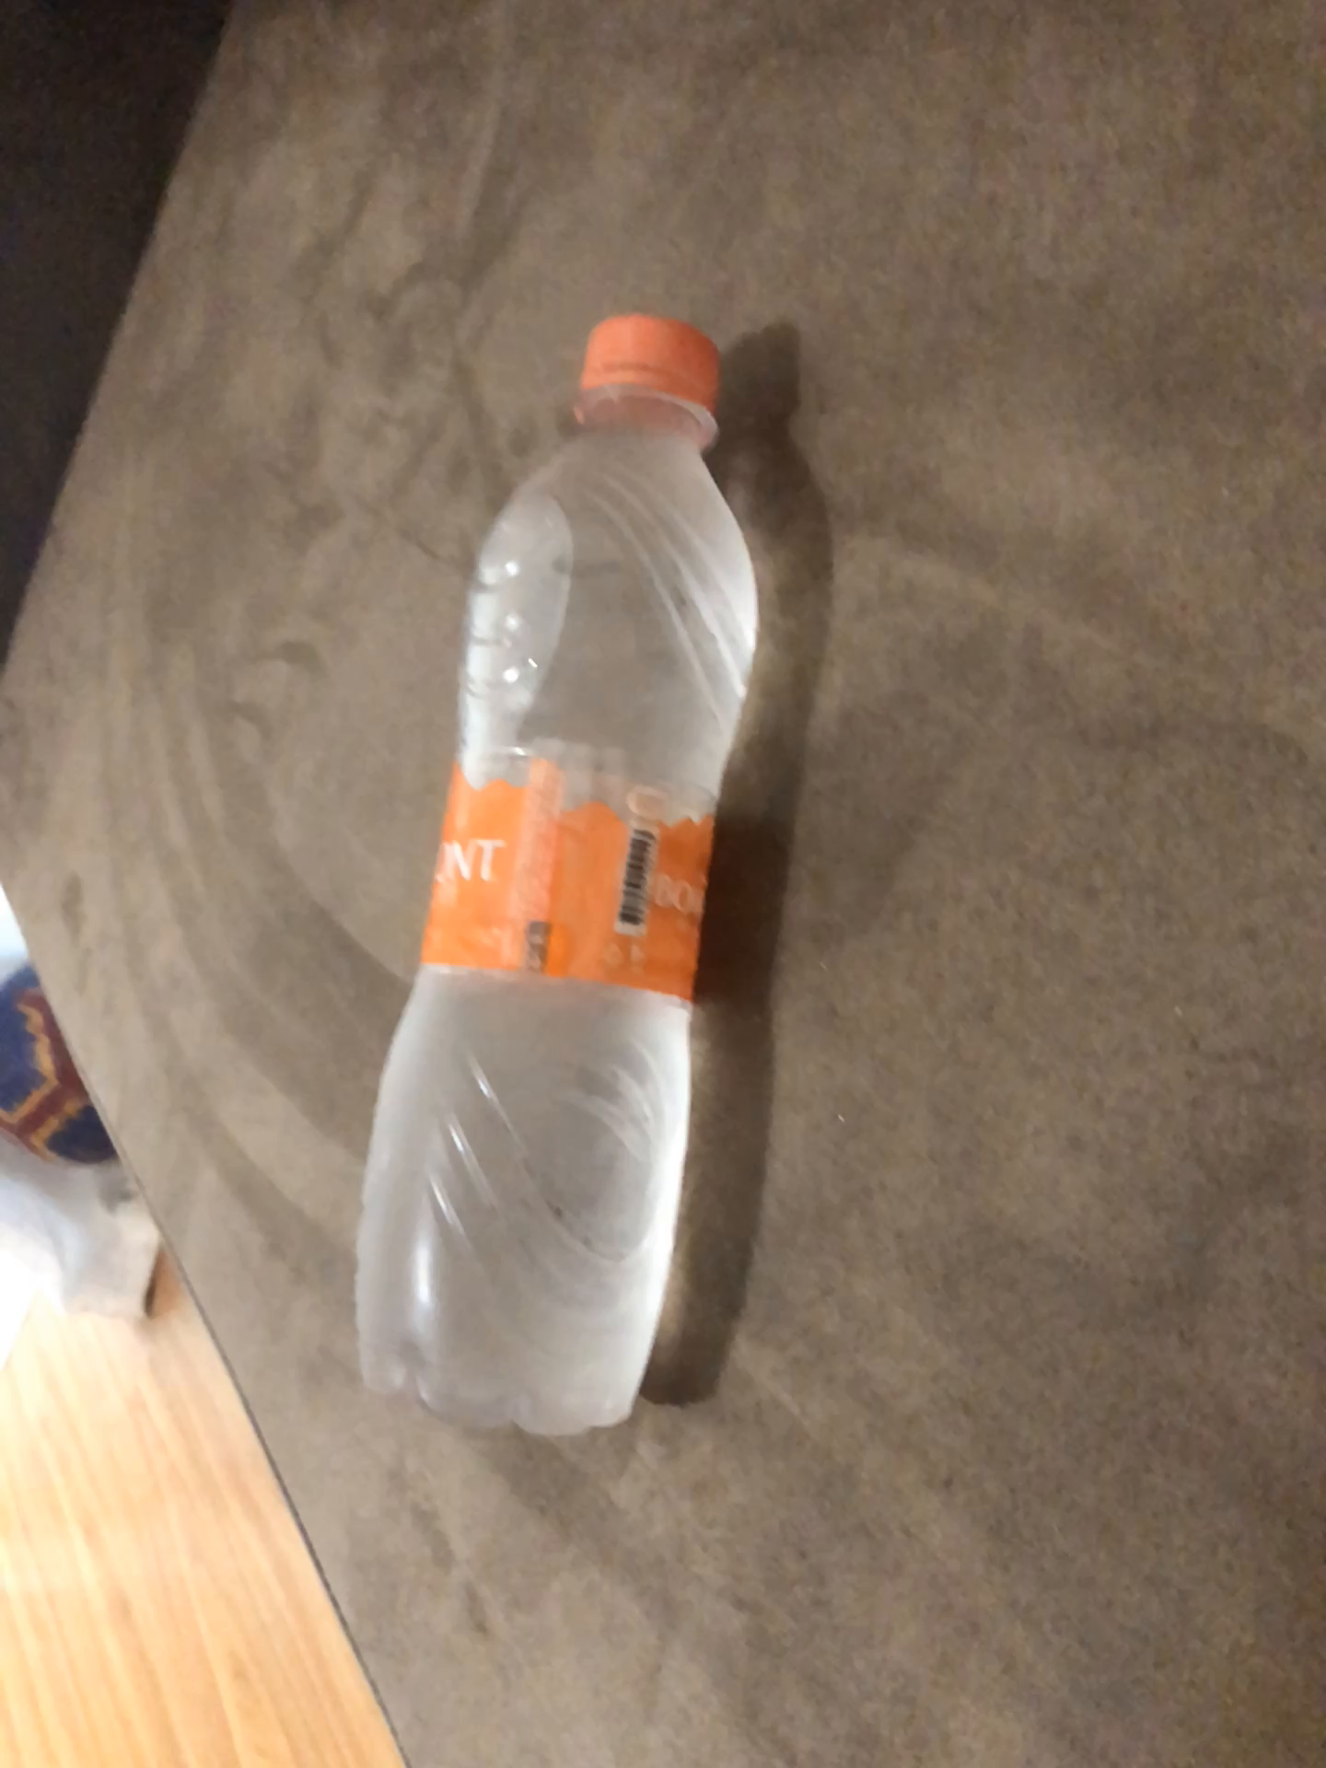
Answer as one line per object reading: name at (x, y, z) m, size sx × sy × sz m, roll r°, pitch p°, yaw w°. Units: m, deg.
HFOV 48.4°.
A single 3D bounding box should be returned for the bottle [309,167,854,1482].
bottle at (-0.016, -0.013, 0.306) m, size 0.070 × 0.050 × 0.240 m, roll -2°, pitch 79°, yaw 48°
